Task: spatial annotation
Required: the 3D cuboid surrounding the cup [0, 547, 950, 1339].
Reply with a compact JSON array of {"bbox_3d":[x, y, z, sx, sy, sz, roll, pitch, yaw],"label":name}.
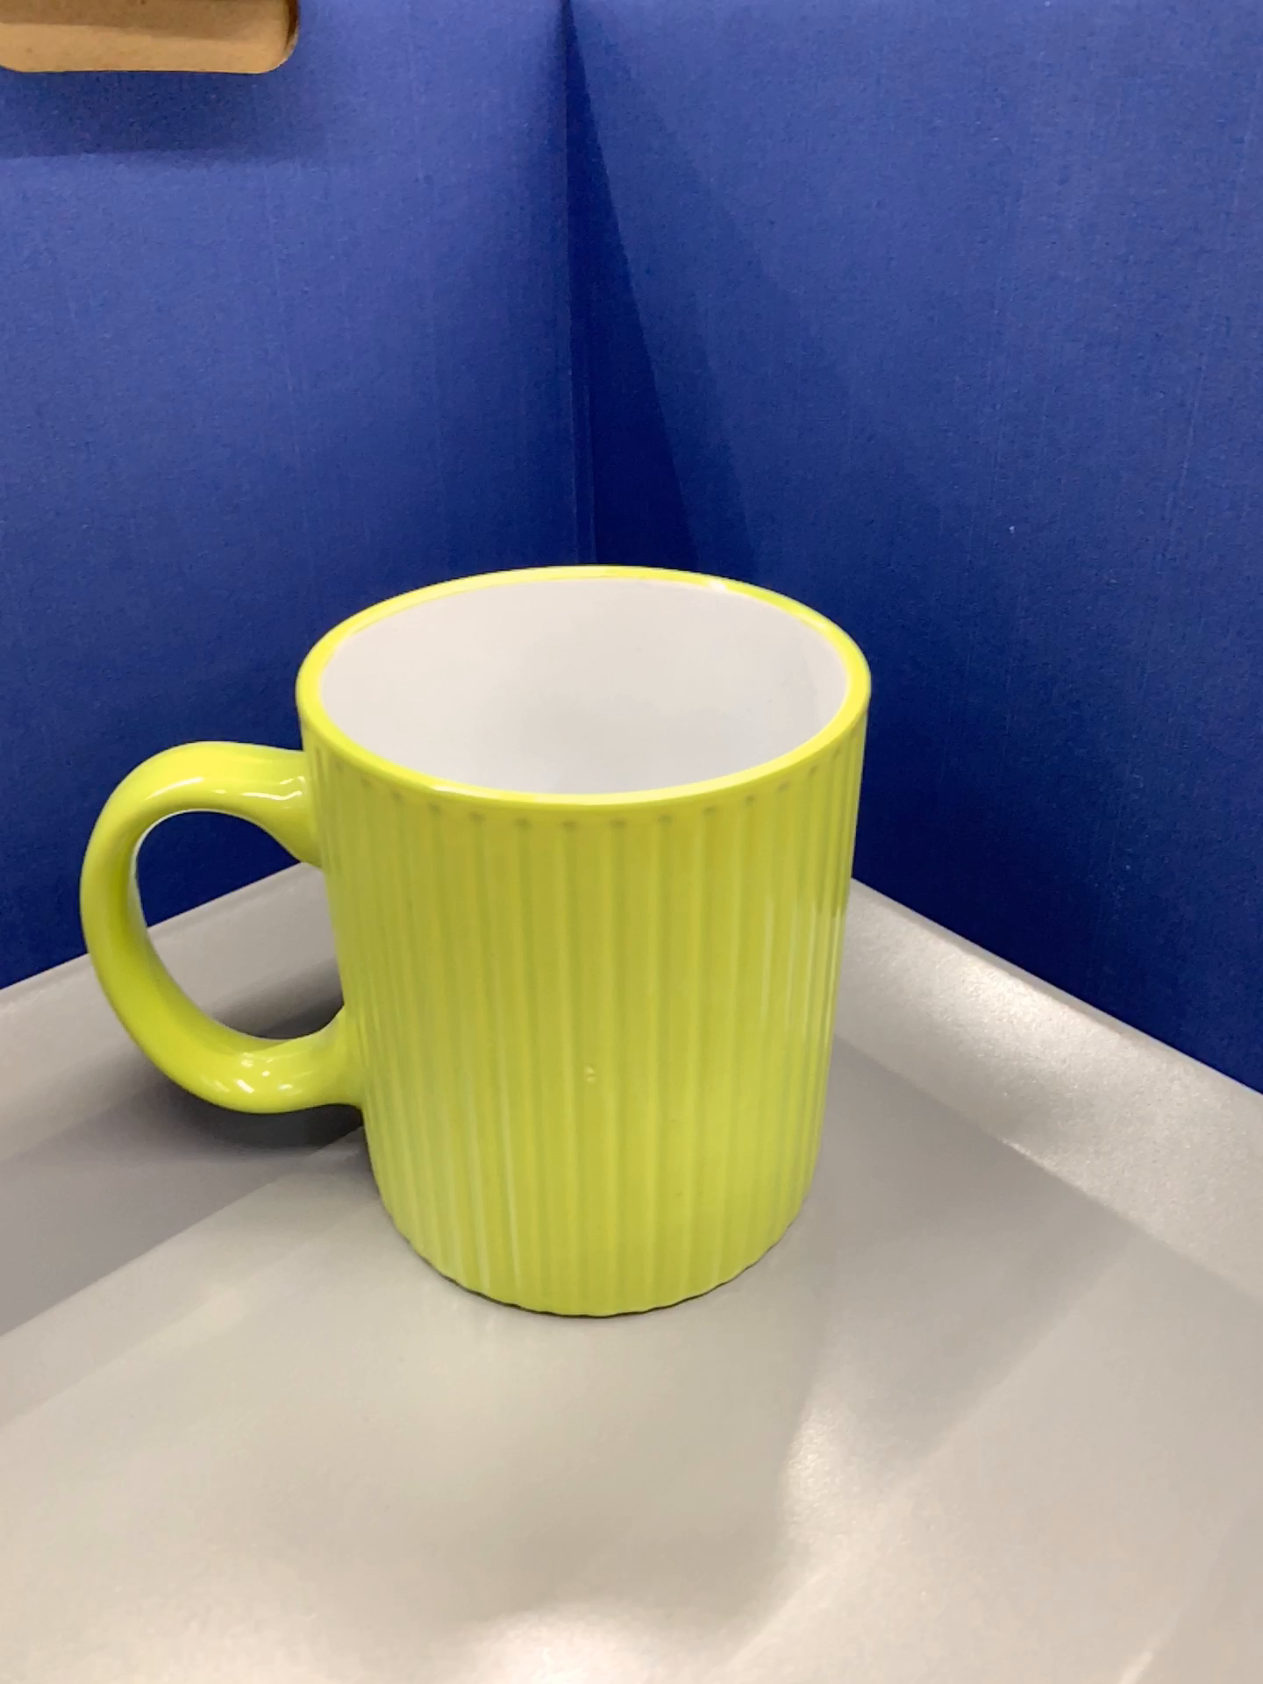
[{"bbox_3d":[-0.026,0.012,0.225,0.129,0.098,0.091,-1,30,-1],"label":"cup"}]
